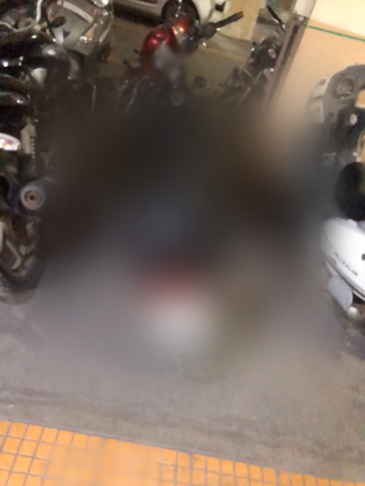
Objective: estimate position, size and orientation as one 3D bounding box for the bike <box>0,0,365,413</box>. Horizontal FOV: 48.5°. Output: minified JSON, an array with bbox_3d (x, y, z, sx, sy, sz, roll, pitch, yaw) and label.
[{"bbox_3d":[-0.134,-0.425,1.829,0.863,1.251,1.678,9,37,-12],"label":"bike"}]
